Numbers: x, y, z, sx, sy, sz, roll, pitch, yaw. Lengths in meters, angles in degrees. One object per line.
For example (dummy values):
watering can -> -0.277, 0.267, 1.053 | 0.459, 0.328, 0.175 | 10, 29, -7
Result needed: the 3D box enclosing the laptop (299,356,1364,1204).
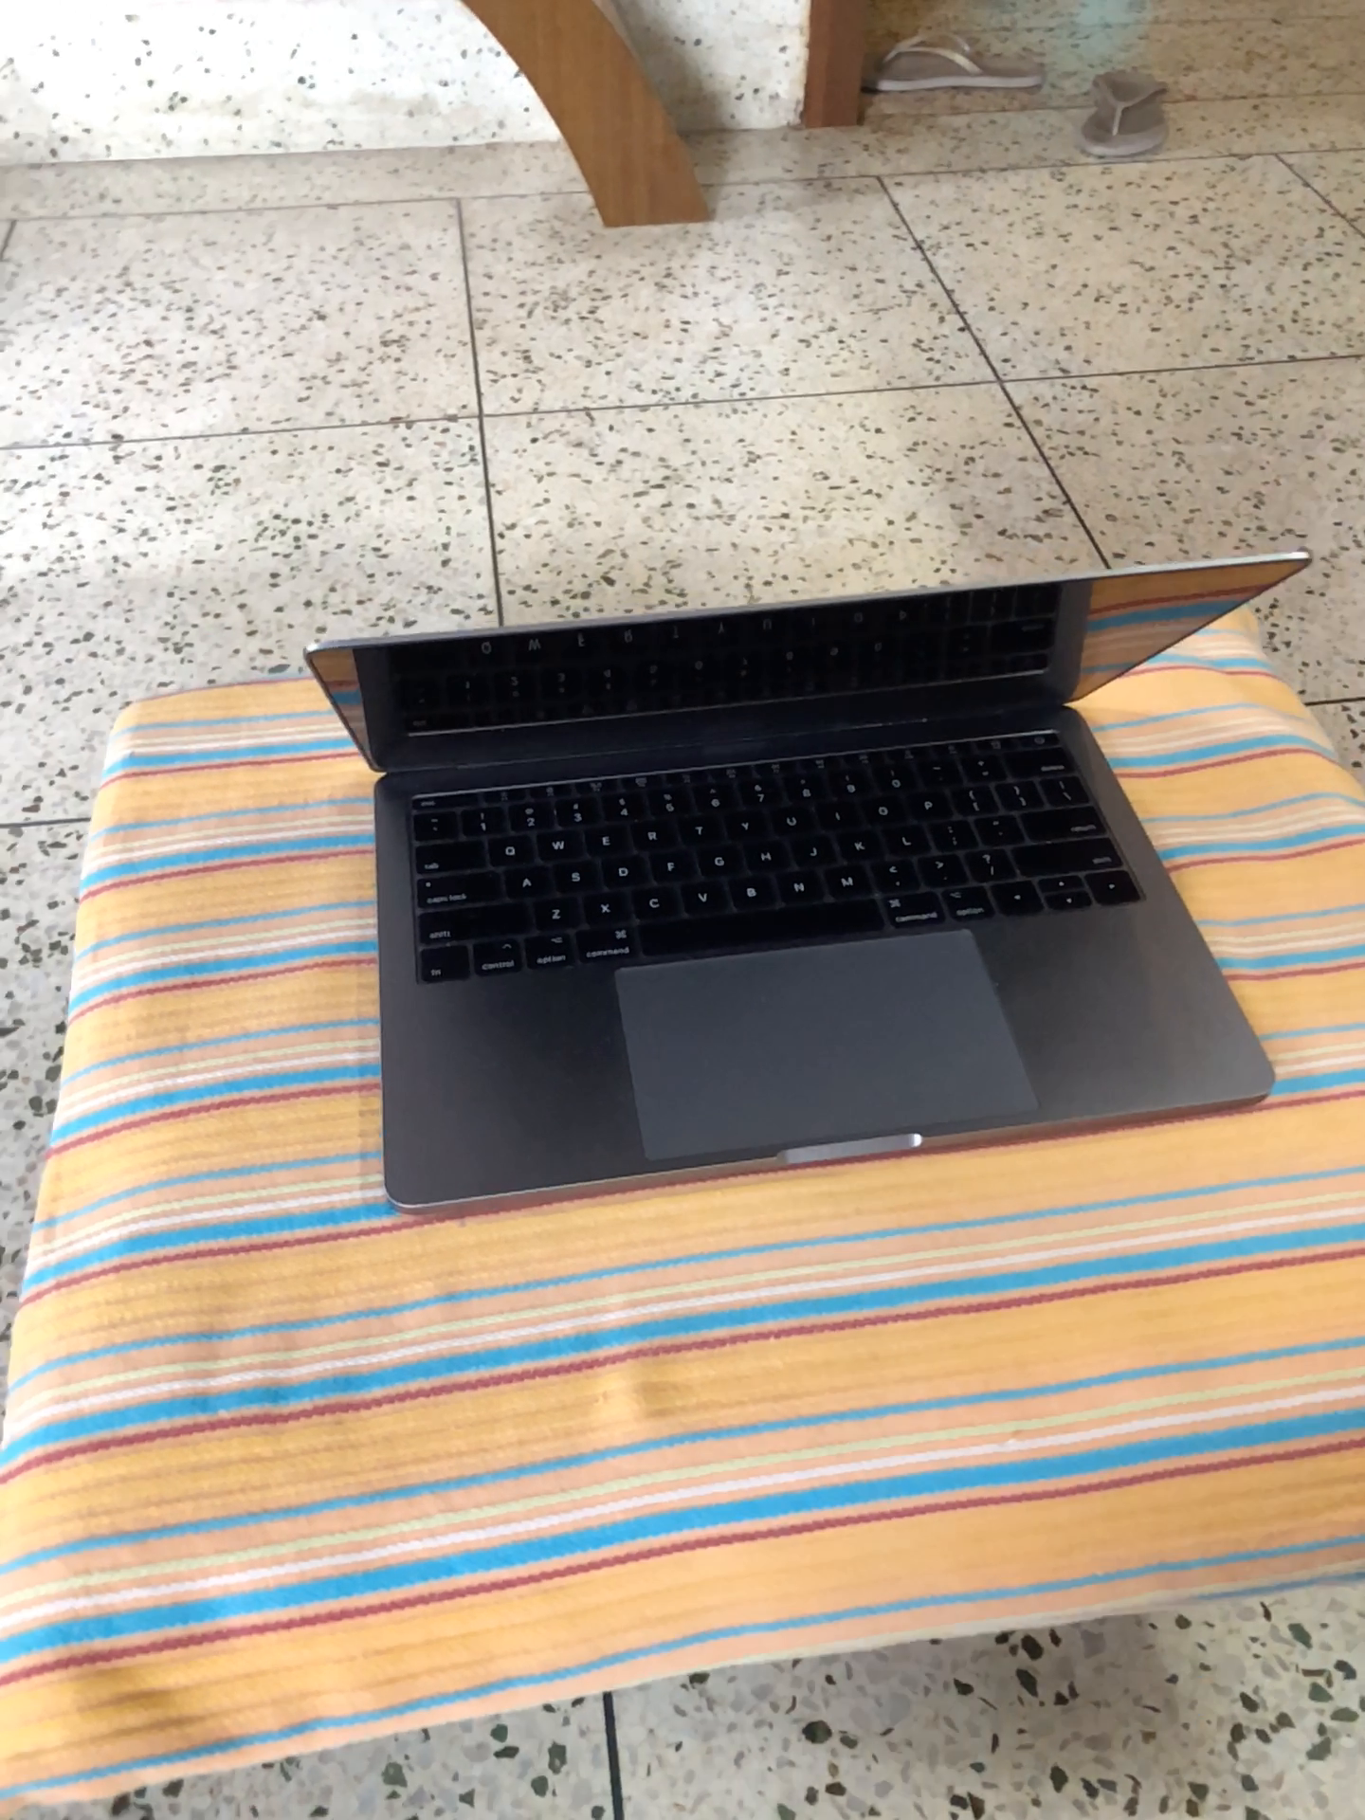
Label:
laptop -> 0.037, -0.051, 0.501 | 0.294, 0.159, 0.204 | -7, 47, -6
